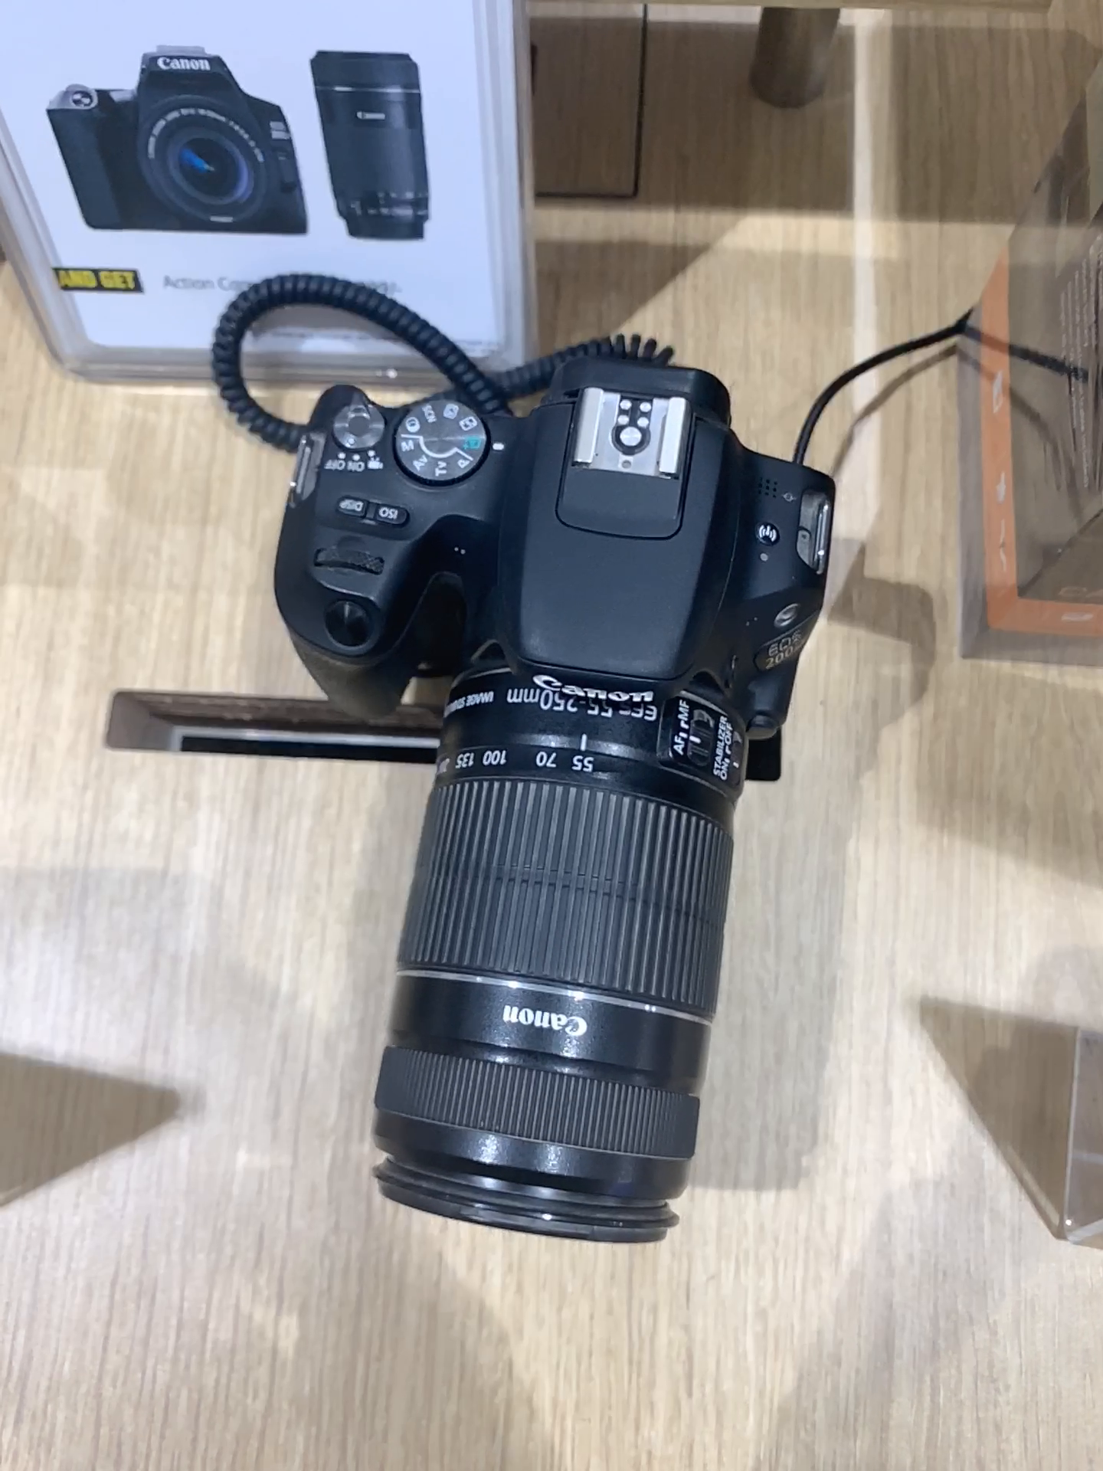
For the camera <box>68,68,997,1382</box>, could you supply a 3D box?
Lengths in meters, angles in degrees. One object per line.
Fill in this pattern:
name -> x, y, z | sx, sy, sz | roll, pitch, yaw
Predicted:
camera -> 0.007, -0.006, 0.228 | 0.120, 0.100, 0.200 | 6, 75, 4
